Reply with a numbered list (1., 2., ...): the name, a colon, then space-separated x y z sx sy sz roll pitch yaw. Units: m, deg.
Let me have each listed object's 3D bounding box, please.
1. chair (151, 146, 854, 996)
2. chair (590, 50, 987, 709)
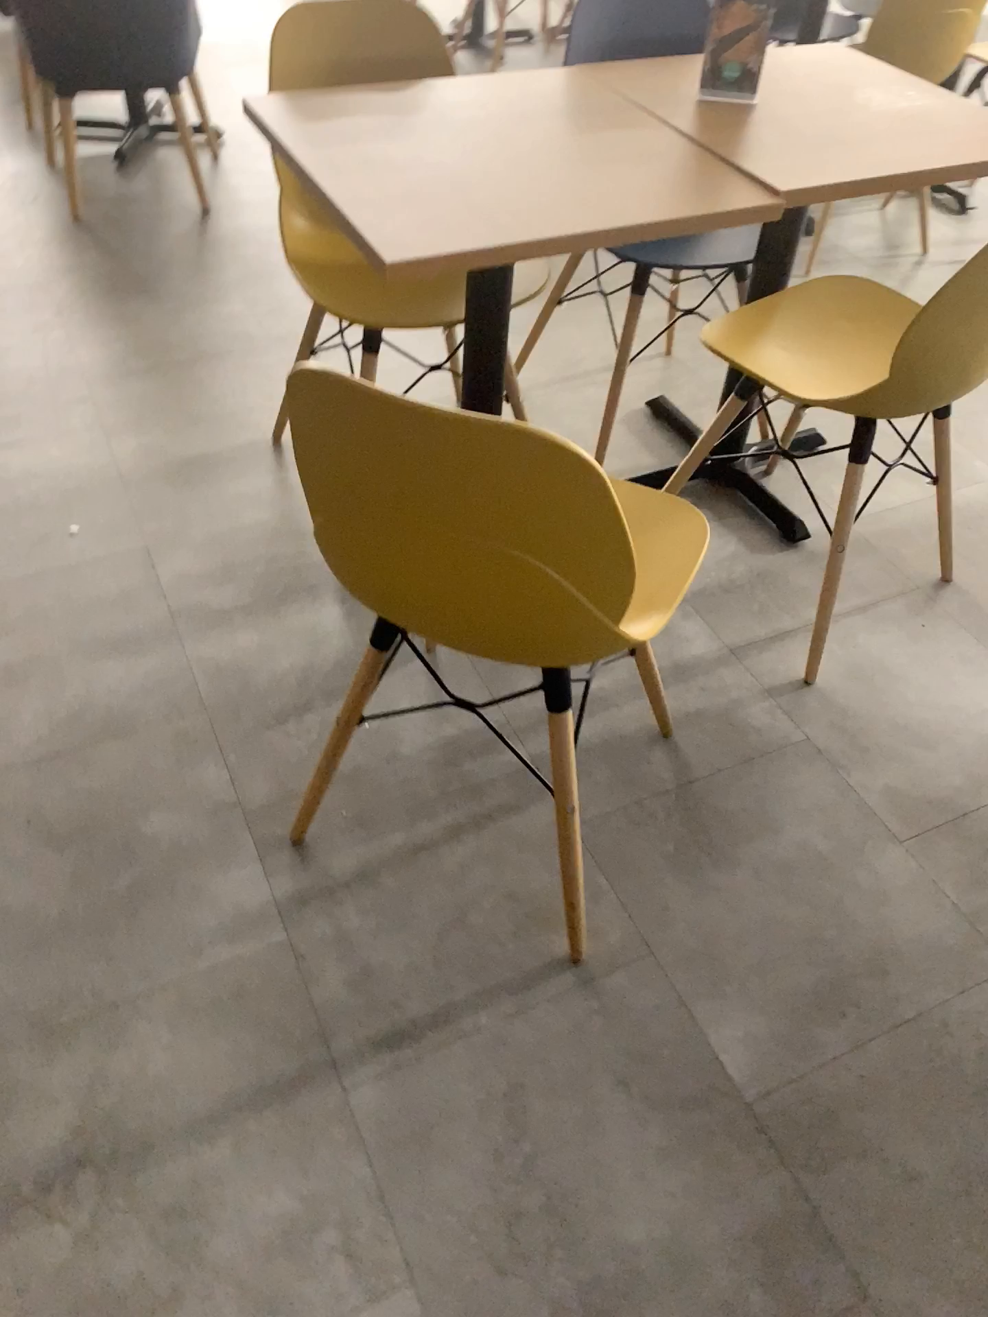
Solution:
1. chair: 0.027 -0.094 1.246 0.517 0.781 0.523 19 47 15
2. chair: 0.572 -0.455 1.649 0.519 0.781 0.531 -31 55 -30
